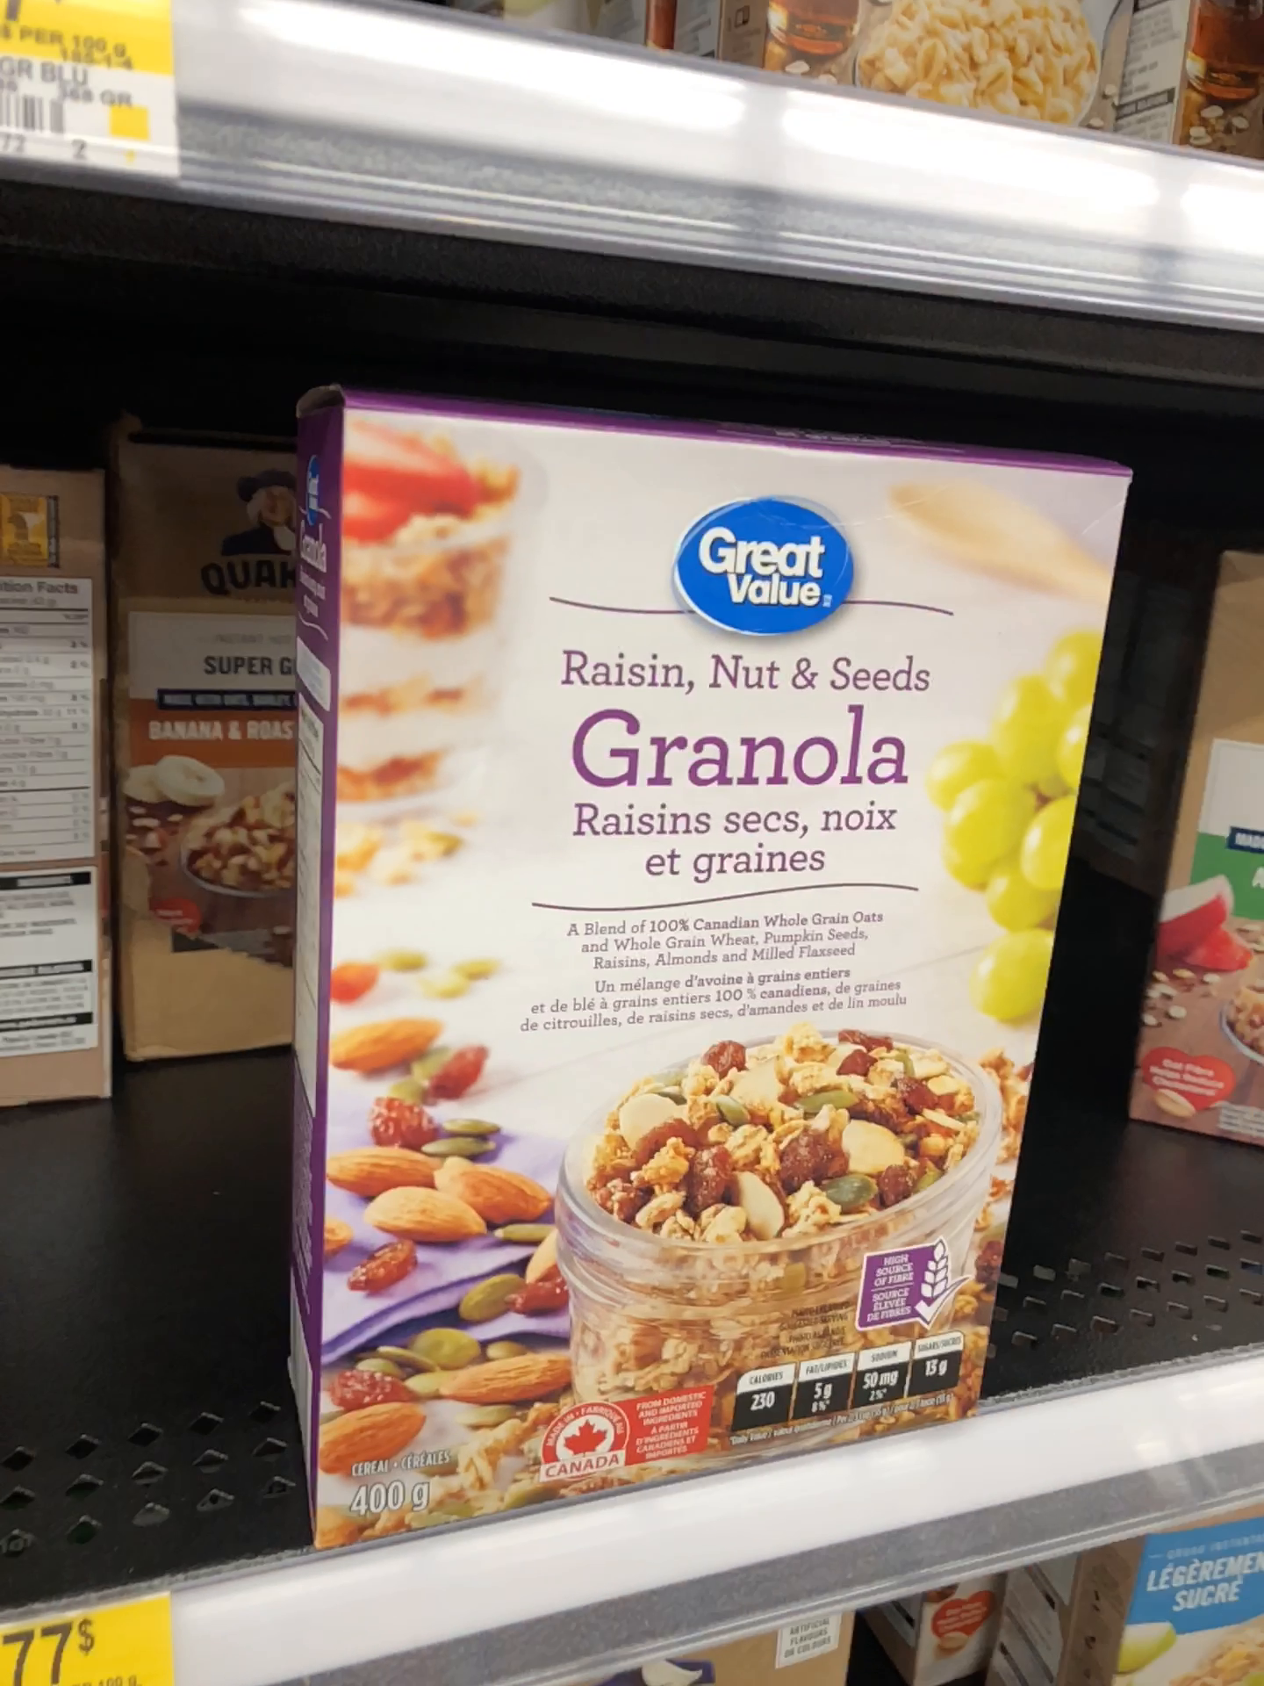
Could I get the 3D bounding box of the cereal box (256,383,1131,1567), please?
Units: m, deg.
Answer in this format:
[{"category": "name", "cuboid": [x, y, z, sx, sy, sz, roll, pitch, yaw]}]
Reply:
[{"category": "cereal box", "cuboid": [0.005, 0.024, 0.300, 0.160, 0.219, 0.060, -2, 15, -21]}]
